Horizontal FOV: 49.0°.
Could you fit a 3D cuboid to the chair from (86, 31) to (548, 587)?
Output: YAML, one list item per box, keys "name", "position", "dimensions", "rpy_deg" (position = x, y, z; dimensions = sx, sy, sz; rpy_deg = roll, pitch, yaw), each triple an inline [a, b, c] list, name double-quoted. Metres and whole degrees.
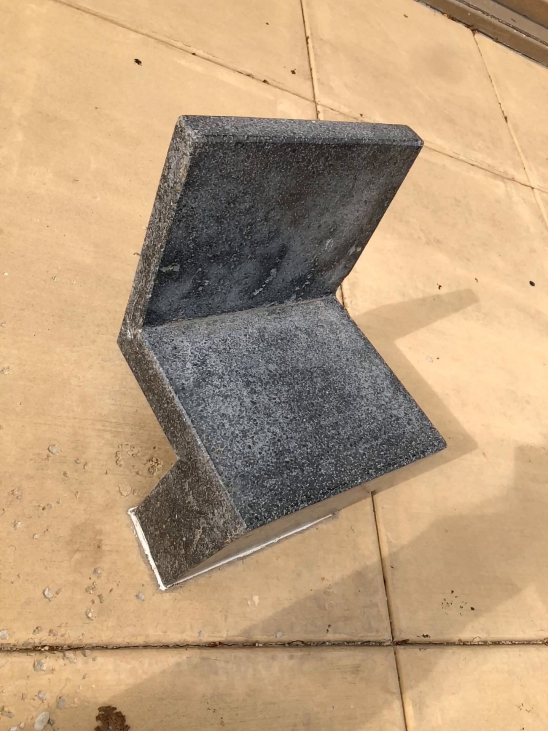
- name: "chair"
  position: [0.069, -0.068, 1.202]
  dimensions: [0.572, 0.798, 0.559]
  rpy_deg: [-11, 58, -36]
